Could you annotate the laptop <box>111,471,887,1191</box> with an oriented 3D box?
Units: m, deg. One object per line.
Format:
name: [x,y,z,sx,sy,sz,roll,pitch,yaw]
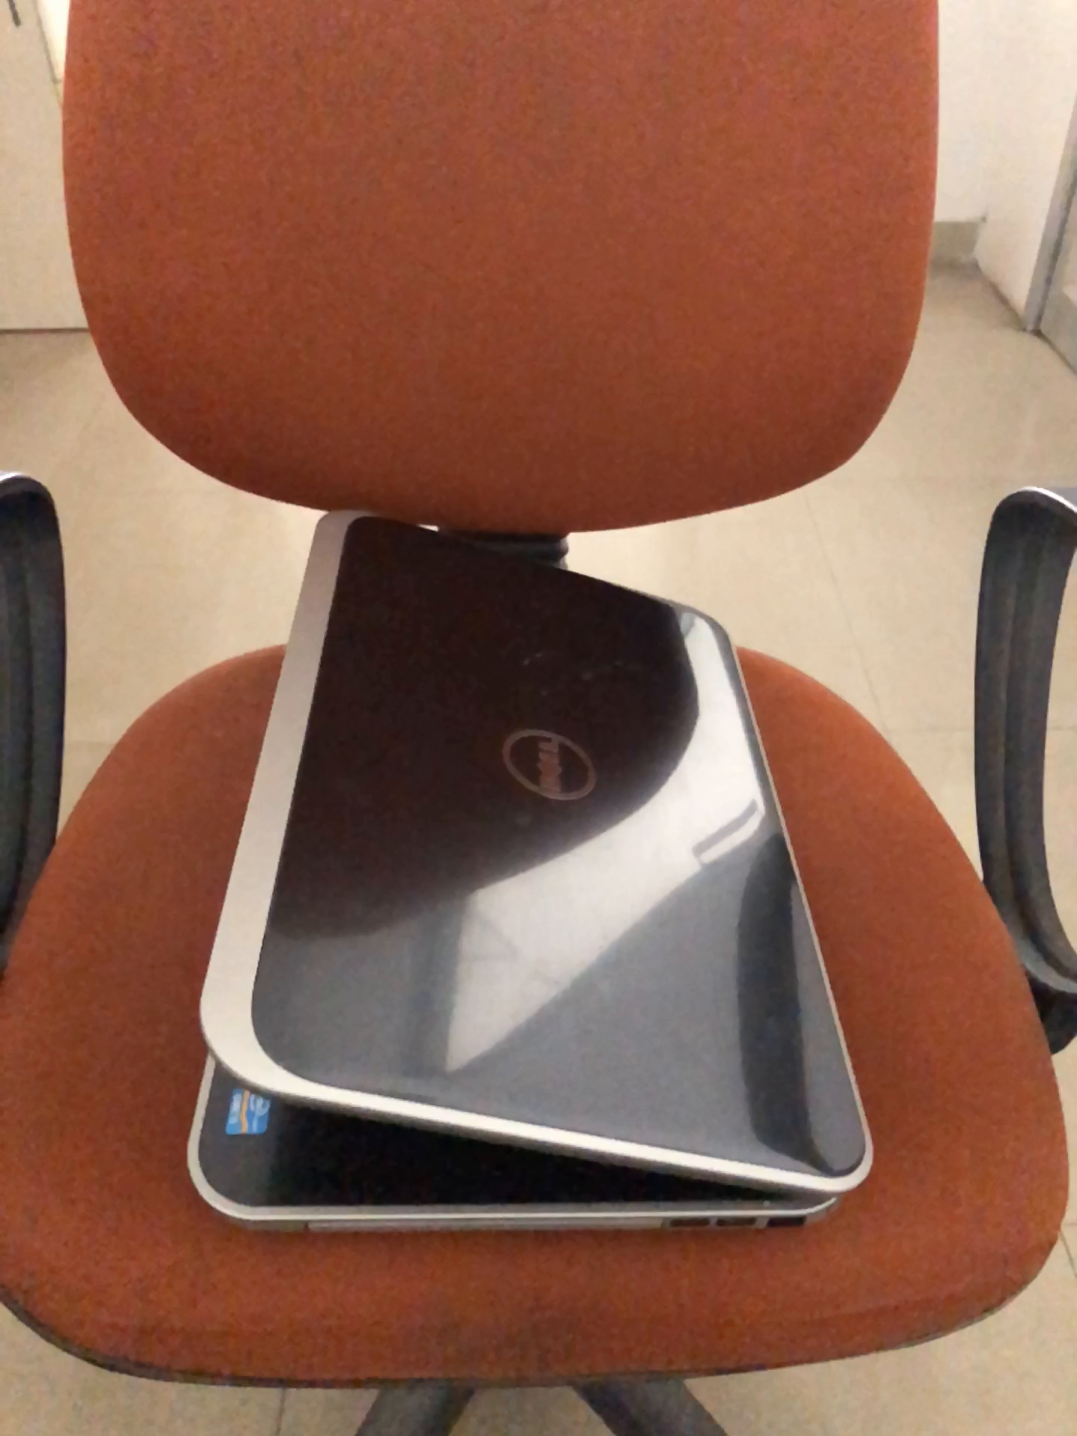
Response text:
laptop: [-0.014,0.017,0.533,0.233,0.090,0.369,1,38,-2]
